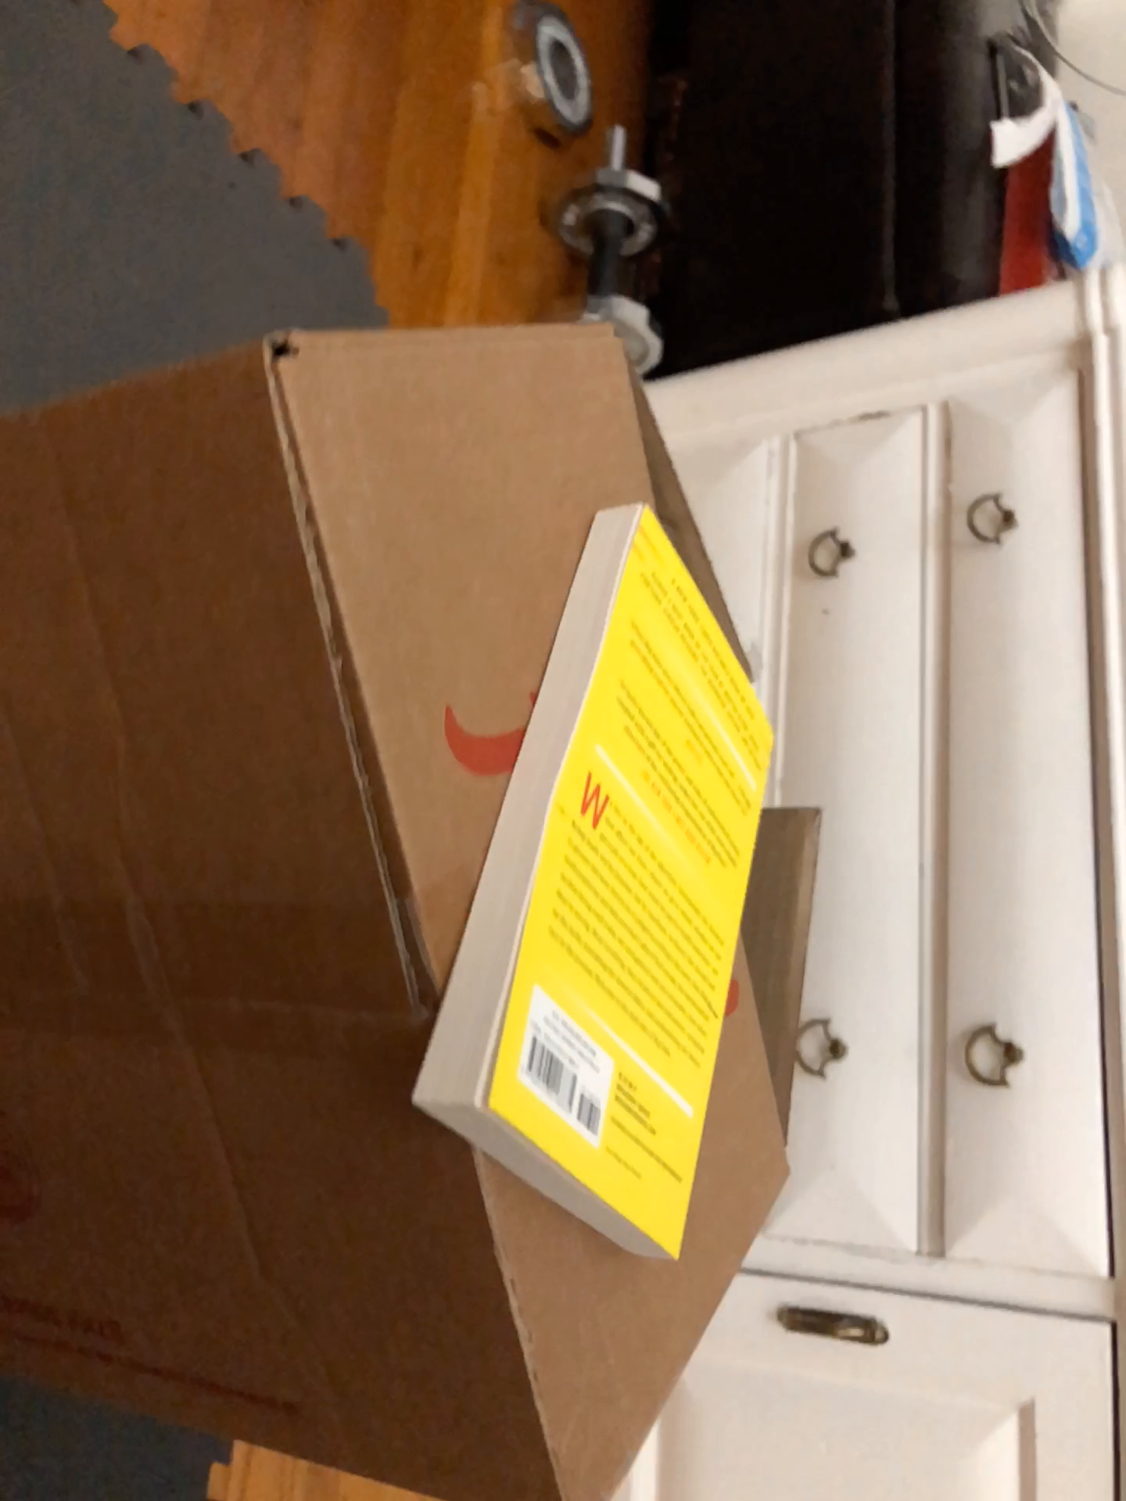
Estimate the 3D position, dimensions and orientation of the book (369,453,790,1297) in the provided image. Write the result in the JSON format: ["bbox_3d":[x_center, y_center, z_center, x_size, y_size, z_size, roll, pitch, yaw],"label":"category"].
[{"bbox_3d":[0.023,0.038,0.399,0.150,0.020,0.221,51,44,-44],"label":"book"}]
